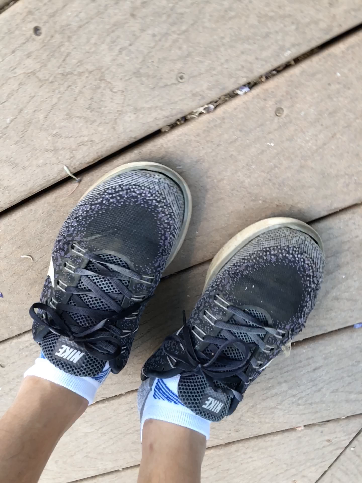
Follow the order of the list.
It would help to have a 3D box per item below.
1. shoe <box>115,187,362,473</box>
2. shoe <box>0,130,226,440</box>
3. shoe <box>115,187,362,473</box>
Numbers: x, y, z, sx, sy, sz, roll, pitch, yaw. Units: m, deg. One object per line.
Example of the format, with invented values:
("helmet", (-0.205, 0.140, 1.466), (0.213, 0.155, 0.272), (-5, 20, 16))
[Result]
("shoe", (0.051, 0.101, 0.411), (0.120, 0.100, 0.271), (27, 117, -9))
("shoe", (-0.080, 0.059, 0.410), (0.120, 0.090, 0.301), (24, 117, -8))
("shoe", (0.051, 0.101, 0.411), (0.120, 0.100, 0.271), (27, 117, -9))
